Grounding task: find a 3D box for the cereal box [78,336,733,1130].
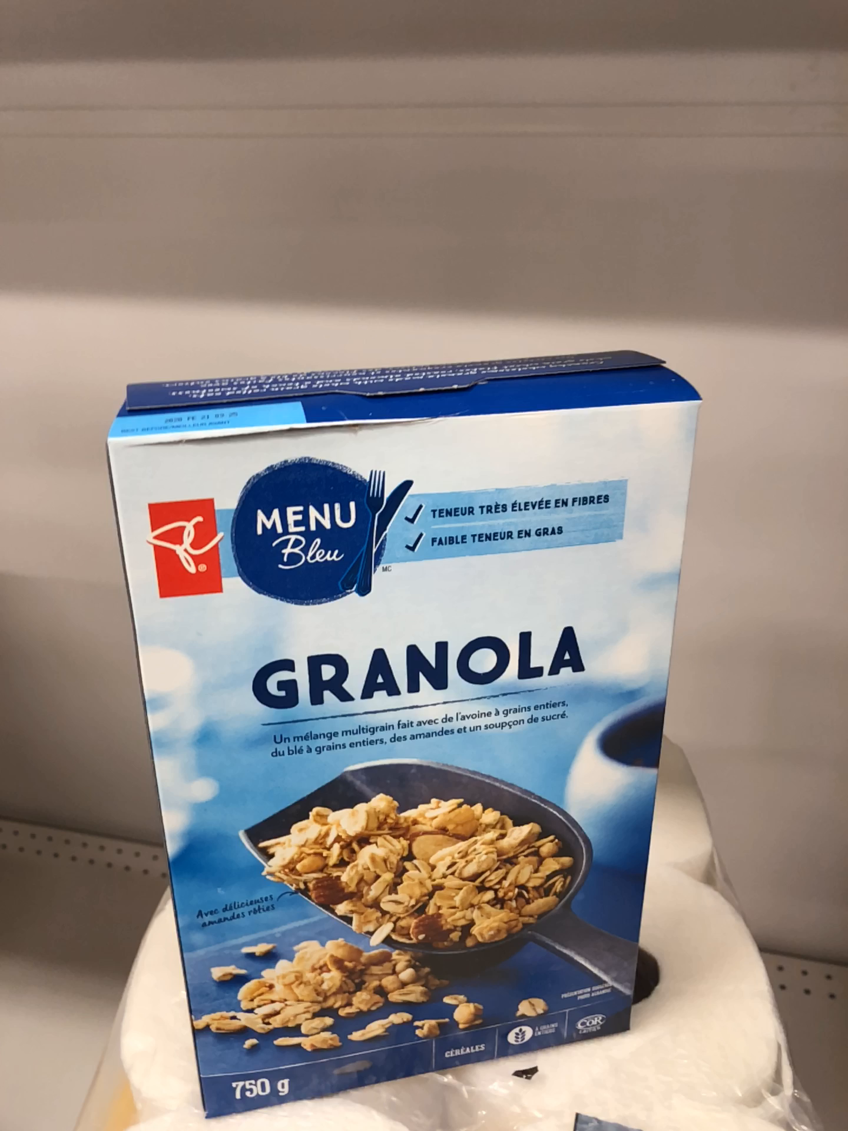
[{"bbox_3d":[-0.003,0.057,0.303,0.160,0.239,0.060,-5,24,-9],"label":"cereal box"}]
